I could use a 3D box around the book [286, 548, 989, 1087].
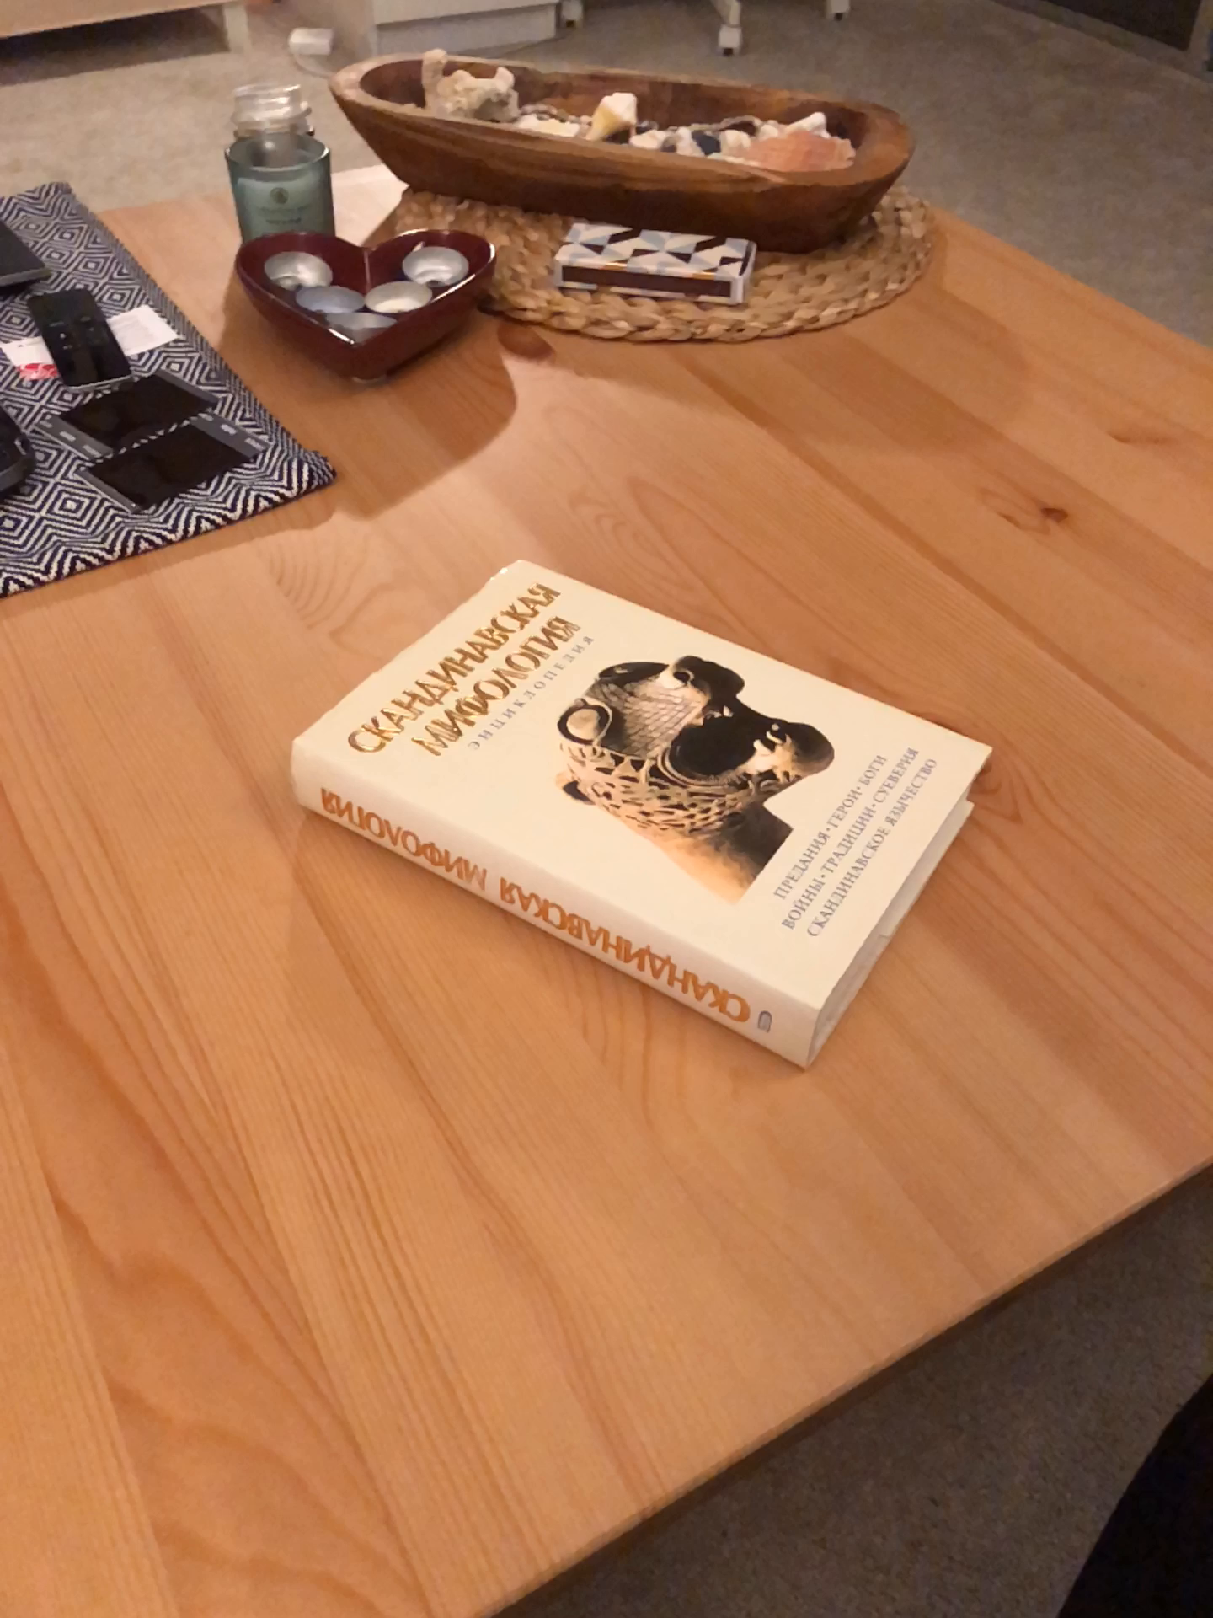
[{"bbox_3d":[0.012,-0.011,0.497,0.210,0.037,0.147,27,51,21],"label":"book"}]
